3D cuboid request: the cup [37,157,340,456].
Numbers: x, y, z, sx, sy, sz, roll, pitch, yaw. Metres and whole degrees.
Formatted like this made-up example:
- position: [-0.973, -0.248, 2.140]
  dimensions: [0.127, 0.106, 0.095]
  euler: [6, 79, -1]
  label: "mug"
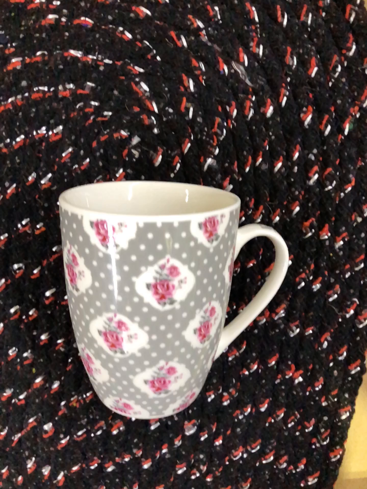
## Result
- position: [-0.009, 0.015, 0.197]
  dimensions: [0.110, 0.090, 0.100]
  euler: [-3, 110, -19]
  label: "cup"
